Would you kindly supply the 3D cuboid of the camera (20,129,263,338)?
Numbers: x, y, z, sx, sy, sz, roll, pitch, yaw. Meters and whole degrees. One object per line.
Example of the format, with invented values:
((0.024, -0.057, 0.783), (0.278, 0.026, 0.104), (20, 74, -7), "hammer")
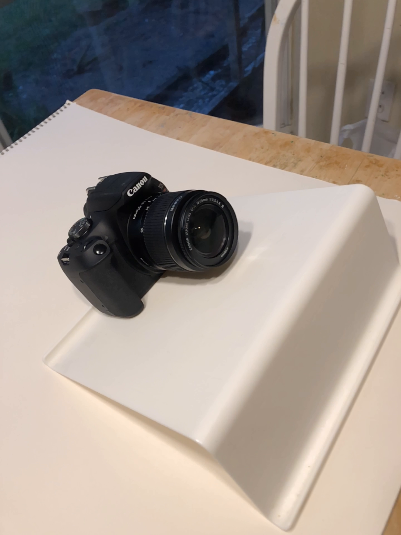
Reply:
((-0.052, -0.029, 0.392), (0.140, 0.104, 0.126), (1, 42, 49), "camera")
